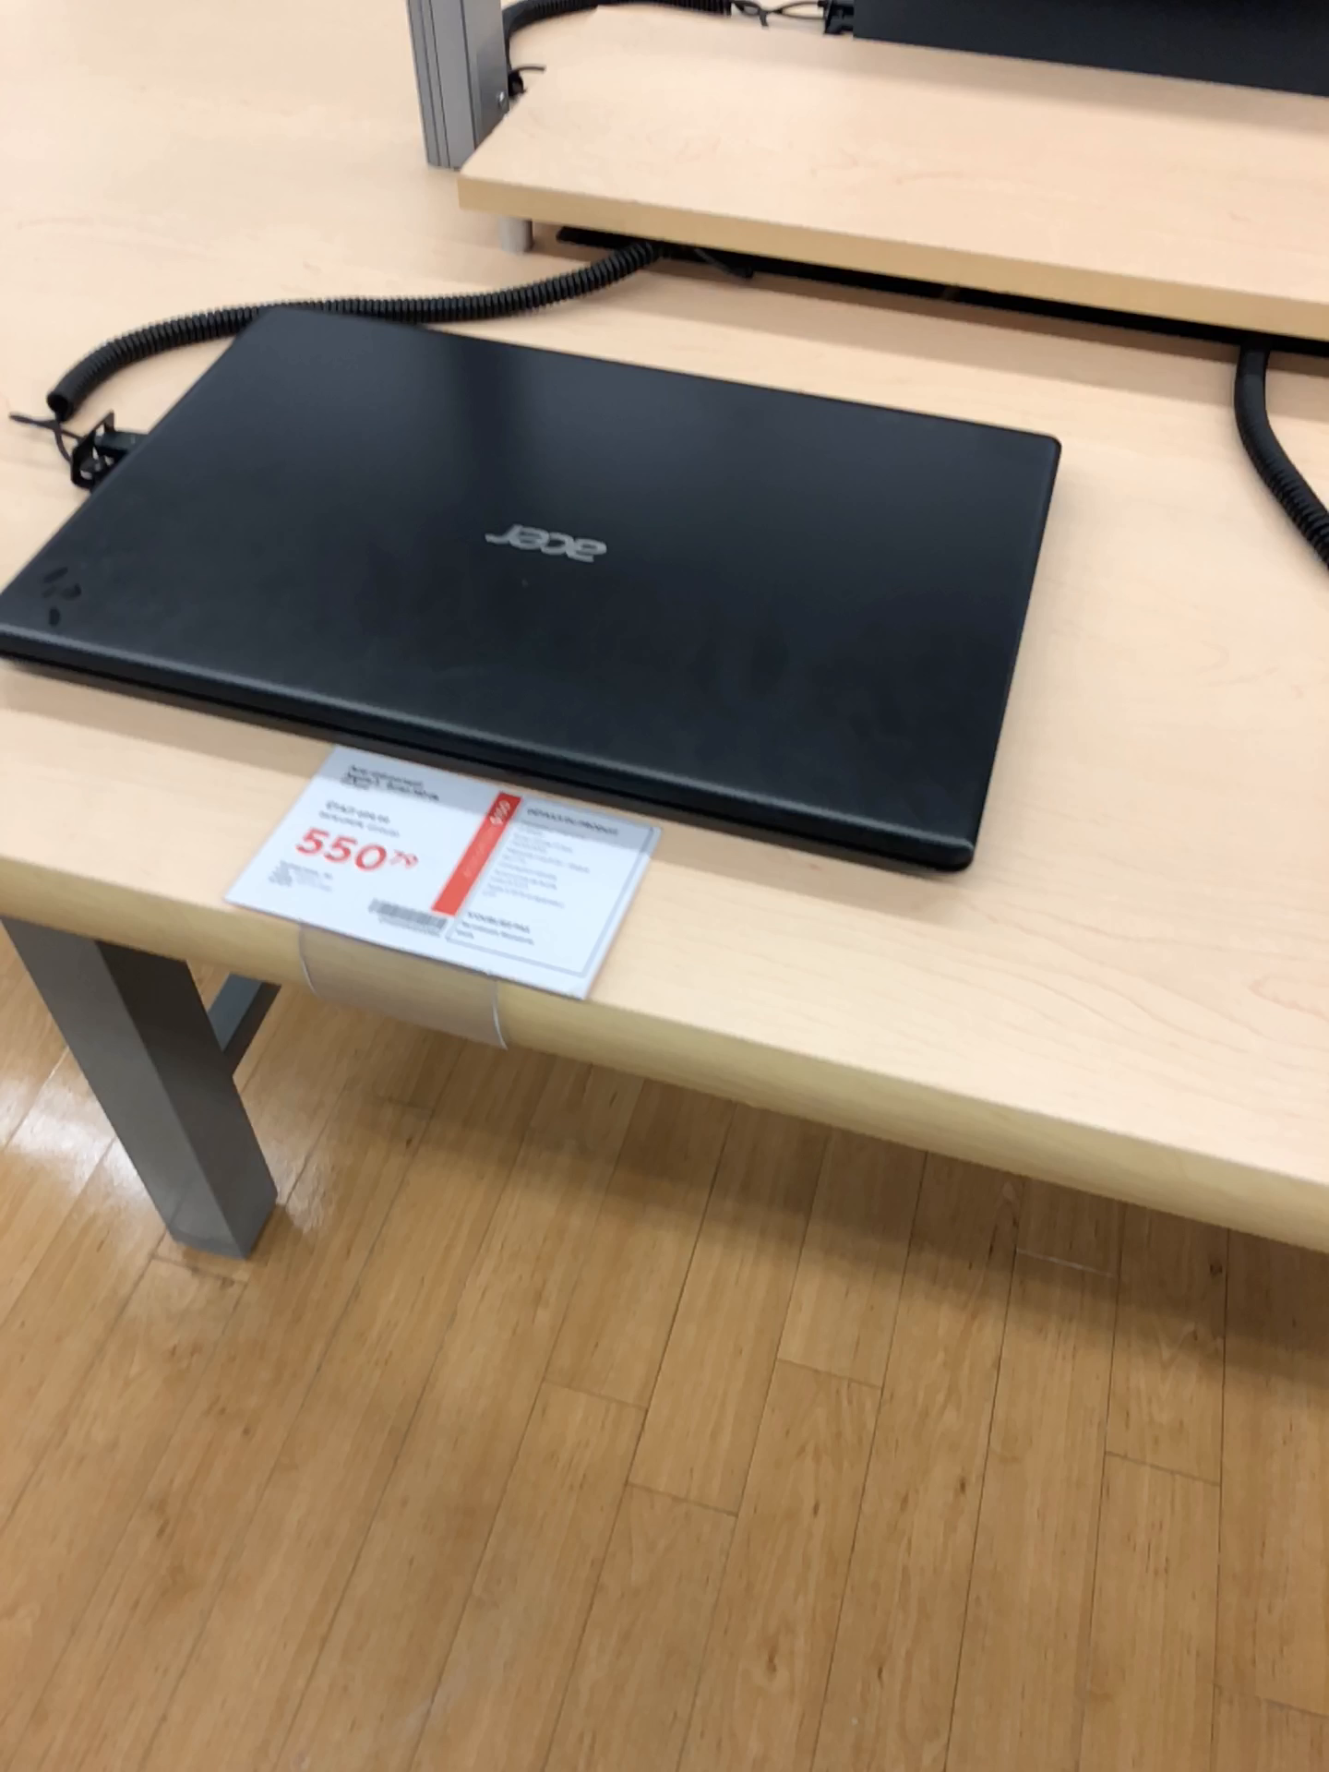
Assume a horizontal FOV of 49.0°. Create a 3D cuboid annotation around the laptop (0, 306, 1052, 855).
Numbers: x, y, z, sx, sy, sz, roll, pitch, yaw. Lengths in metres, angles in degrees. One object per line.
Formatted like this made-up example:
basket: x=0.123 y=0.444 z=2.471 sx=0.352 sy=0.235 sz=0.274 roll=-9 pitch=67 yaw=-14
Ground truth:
laptop: x=-0.051 y=-0.160 z=0.651 sx=0.416 sy=0.001 sz=0.268 roll=14 pitch=51 yaw=11
